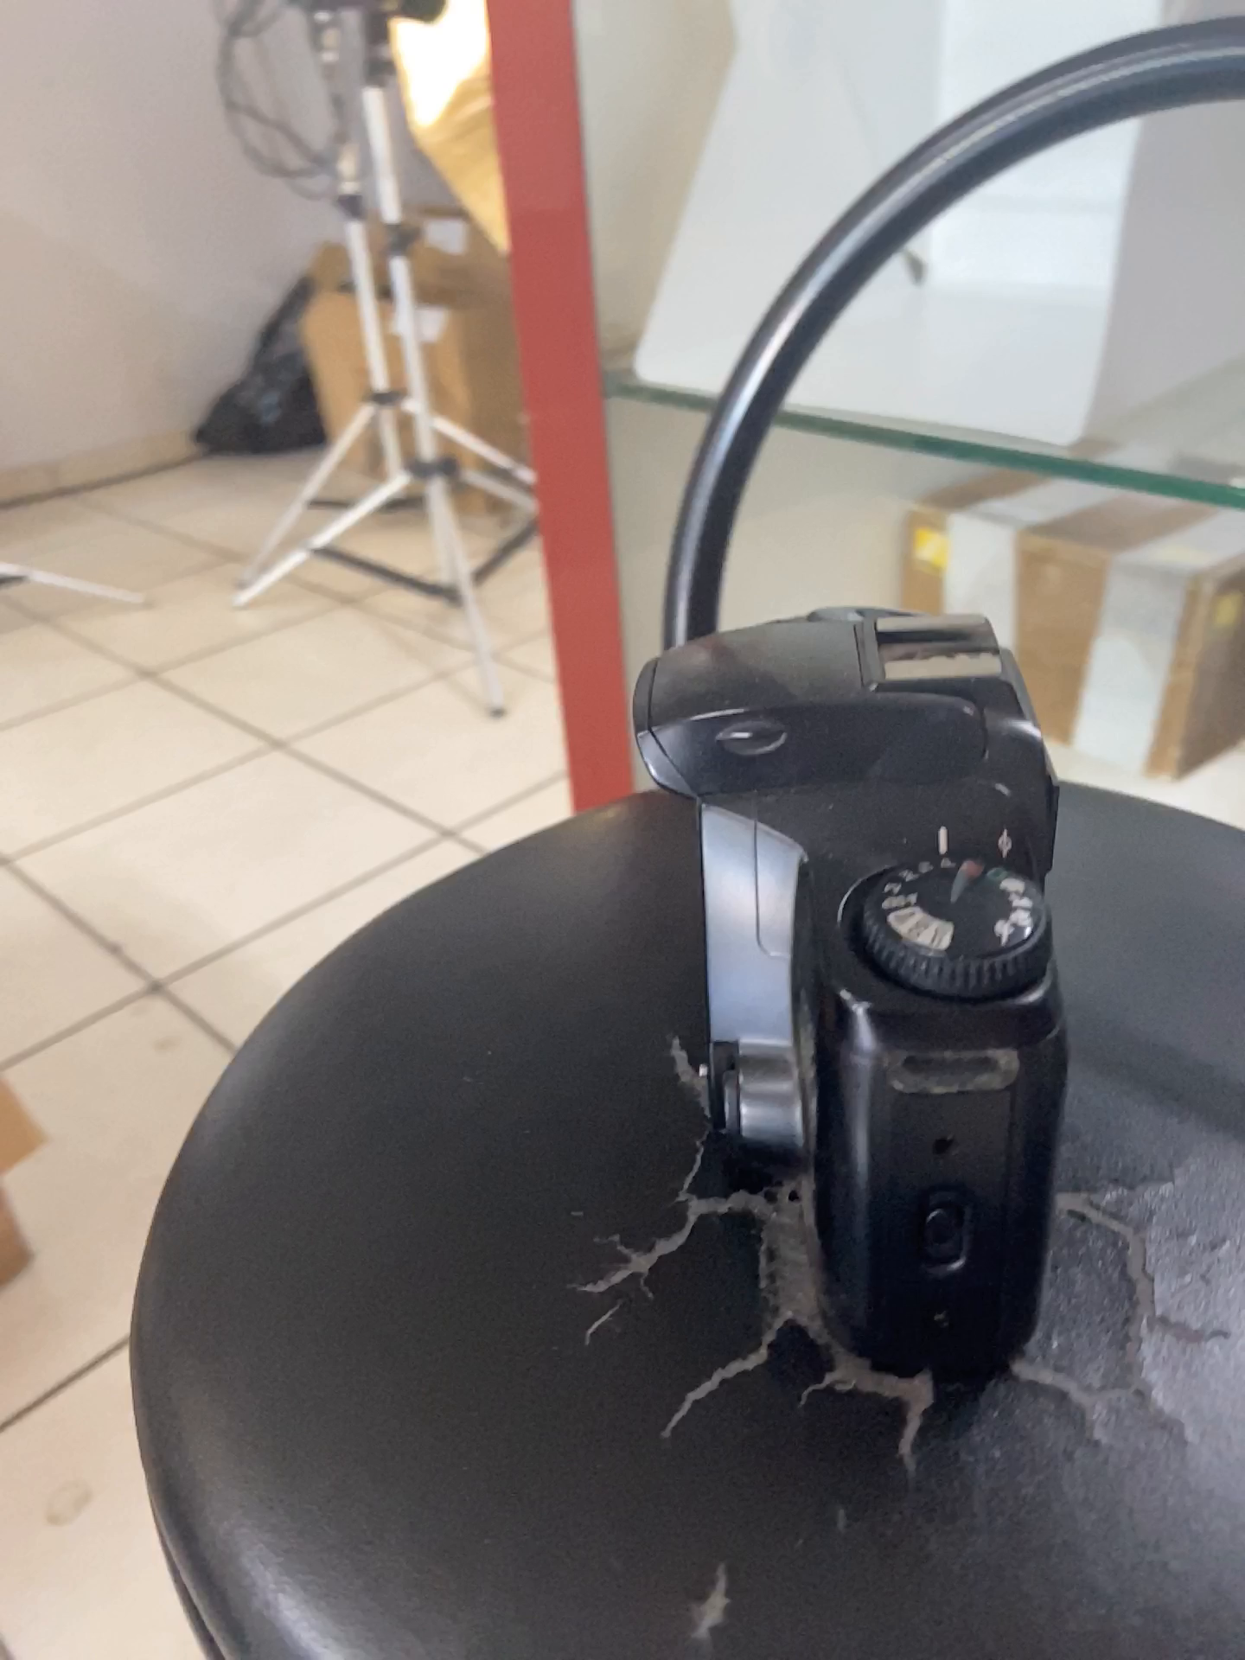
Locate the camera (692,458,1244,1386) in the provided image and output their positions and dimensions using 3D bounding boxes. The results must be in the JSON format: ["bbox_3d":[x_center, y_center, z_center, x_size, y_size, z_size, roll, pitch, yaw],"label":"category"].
[{"bbox_3d":[0.049,0.003,0.219,0.070,0.089,0.141,-2,31,5],"label":"camera"}]
